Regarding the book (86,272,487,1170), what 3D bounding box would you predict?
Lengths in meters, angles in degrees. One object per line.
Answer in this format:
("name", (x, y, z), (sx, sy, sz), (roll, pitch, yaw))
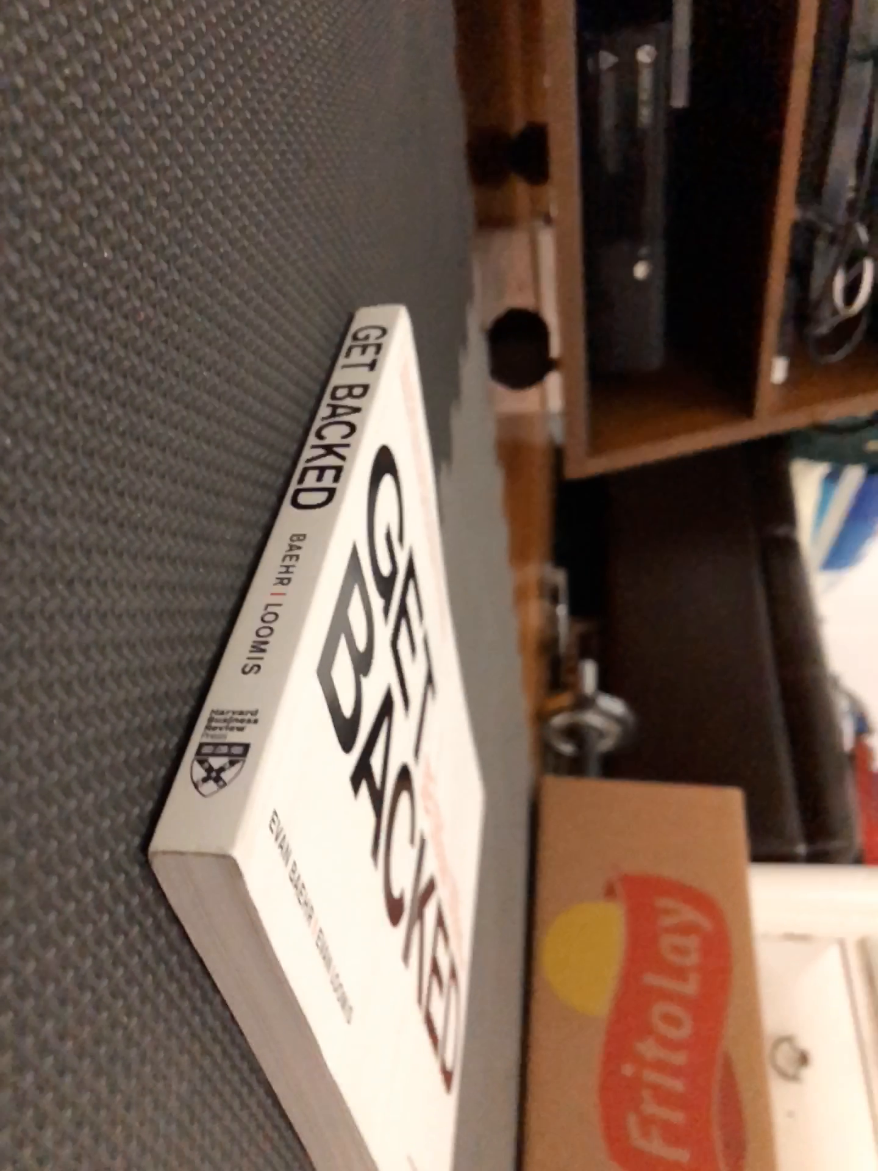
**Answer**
("book", (-0.015, 0.071, 0.311), (0.210, 0.020, 0.260), (-80, 165, -47))
